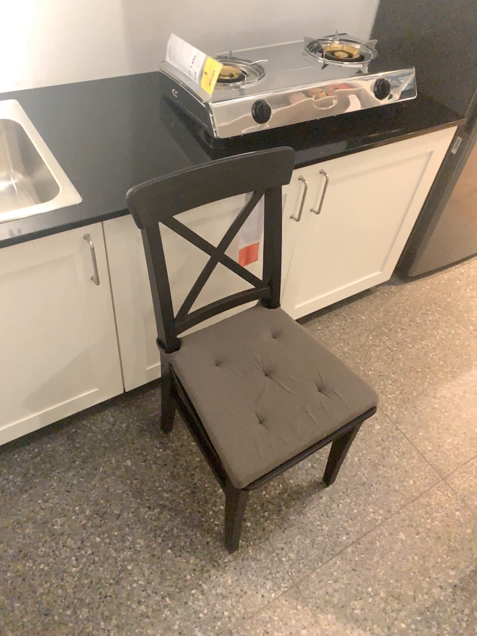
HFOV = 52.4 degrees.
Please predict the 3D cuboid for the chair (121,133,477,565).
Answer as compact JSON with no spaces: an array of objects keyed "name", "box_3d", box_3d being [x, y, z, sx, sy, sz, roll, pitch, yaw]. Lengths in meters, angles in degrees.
[{"name":"chair","box_3d":[0.065,0.103,1.111,0.421,0.787,0.491,-24,55,-26]}]
